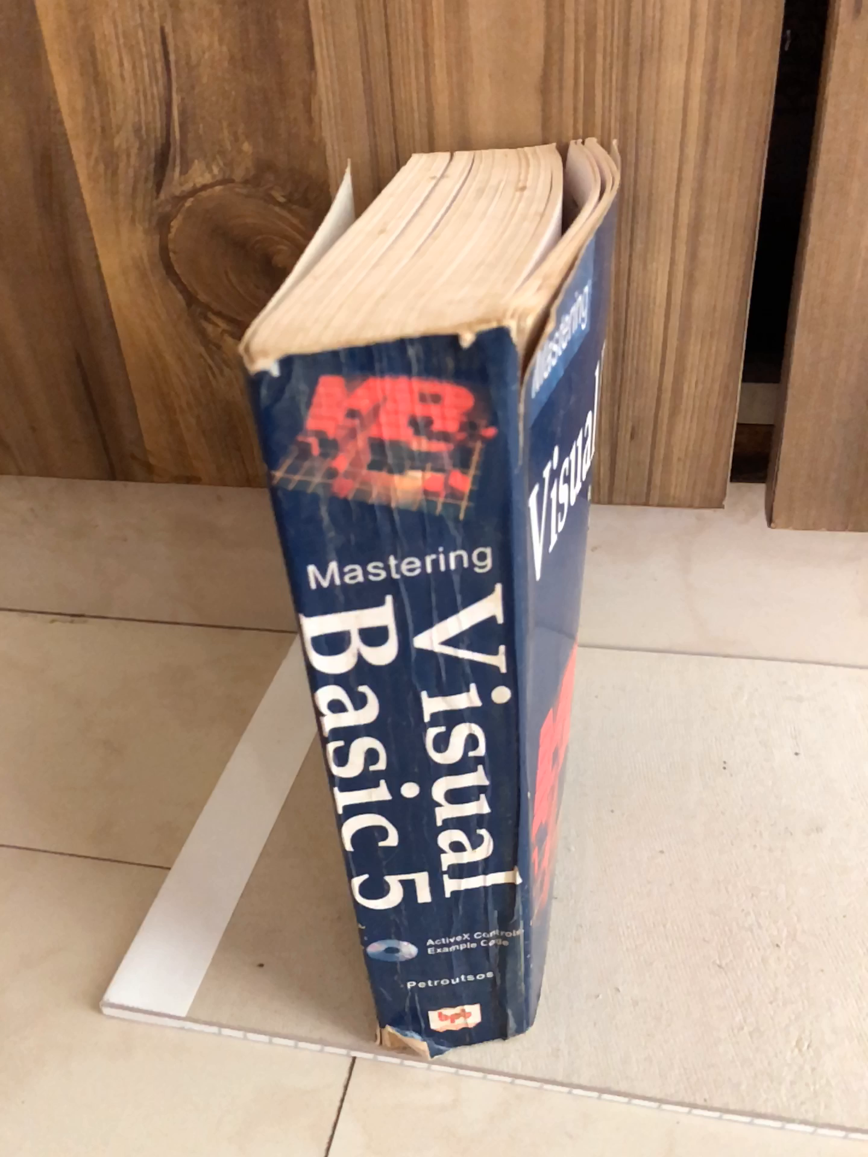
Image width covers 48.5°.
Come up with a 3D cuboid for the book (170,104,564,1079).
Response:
[{"bbox_3d":[0.008,-0.005,0.326,0.060,0.249,0.211,-2,33,9],"label":"book"}]
